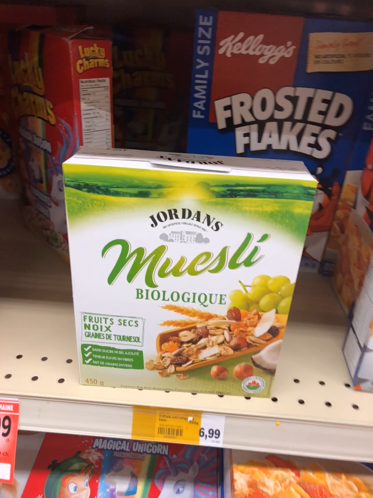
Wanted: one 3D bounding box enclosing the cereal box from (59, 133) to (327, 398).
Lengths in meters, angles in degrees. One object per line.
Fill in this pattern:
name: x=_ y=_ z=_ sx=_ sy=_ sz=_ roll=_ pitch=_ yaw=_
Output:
cereal box: x=-0.002 y=0.024 z=0.352 sx=0.180 sy=0.218 sz=0.050 roll=4 pitch=29 yaw=0
